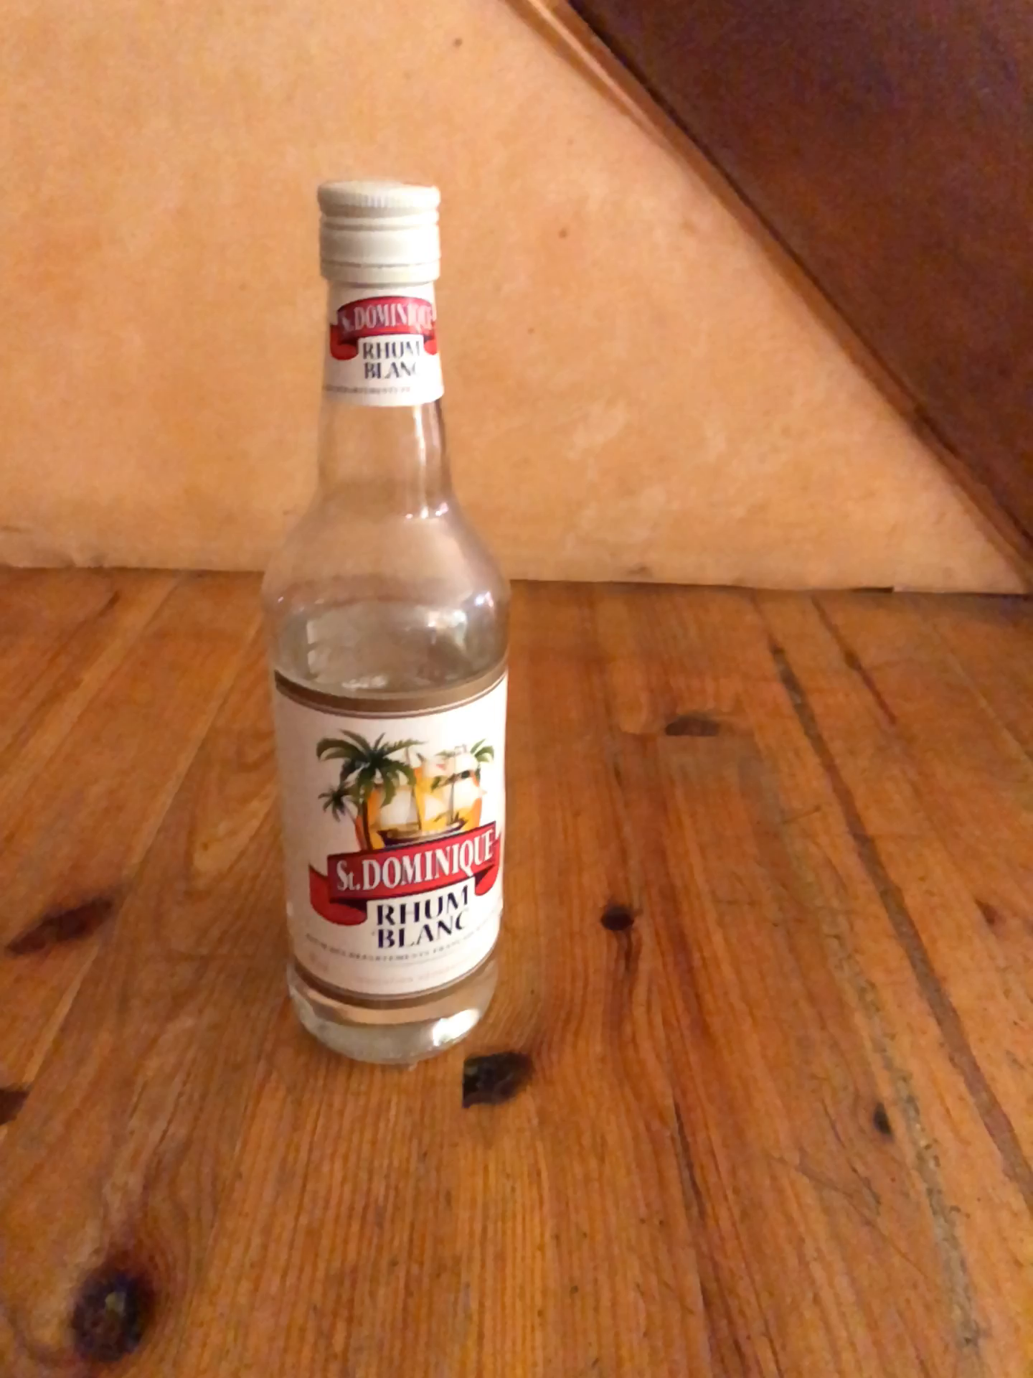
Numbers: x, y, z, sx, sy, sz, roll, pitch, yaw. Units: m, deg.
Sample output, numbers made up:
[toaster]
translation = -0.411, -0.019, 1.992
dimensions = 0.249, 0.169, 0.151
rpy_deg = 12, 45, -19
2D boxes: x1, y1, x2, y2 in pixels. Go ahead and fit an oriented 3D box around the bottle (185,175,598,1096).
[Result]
[bottle]
translation = -0.037, -0.009, 0.342
dimensions = 0.090, 0.258, 0.080
rpy_deg = -5, 28, -12
